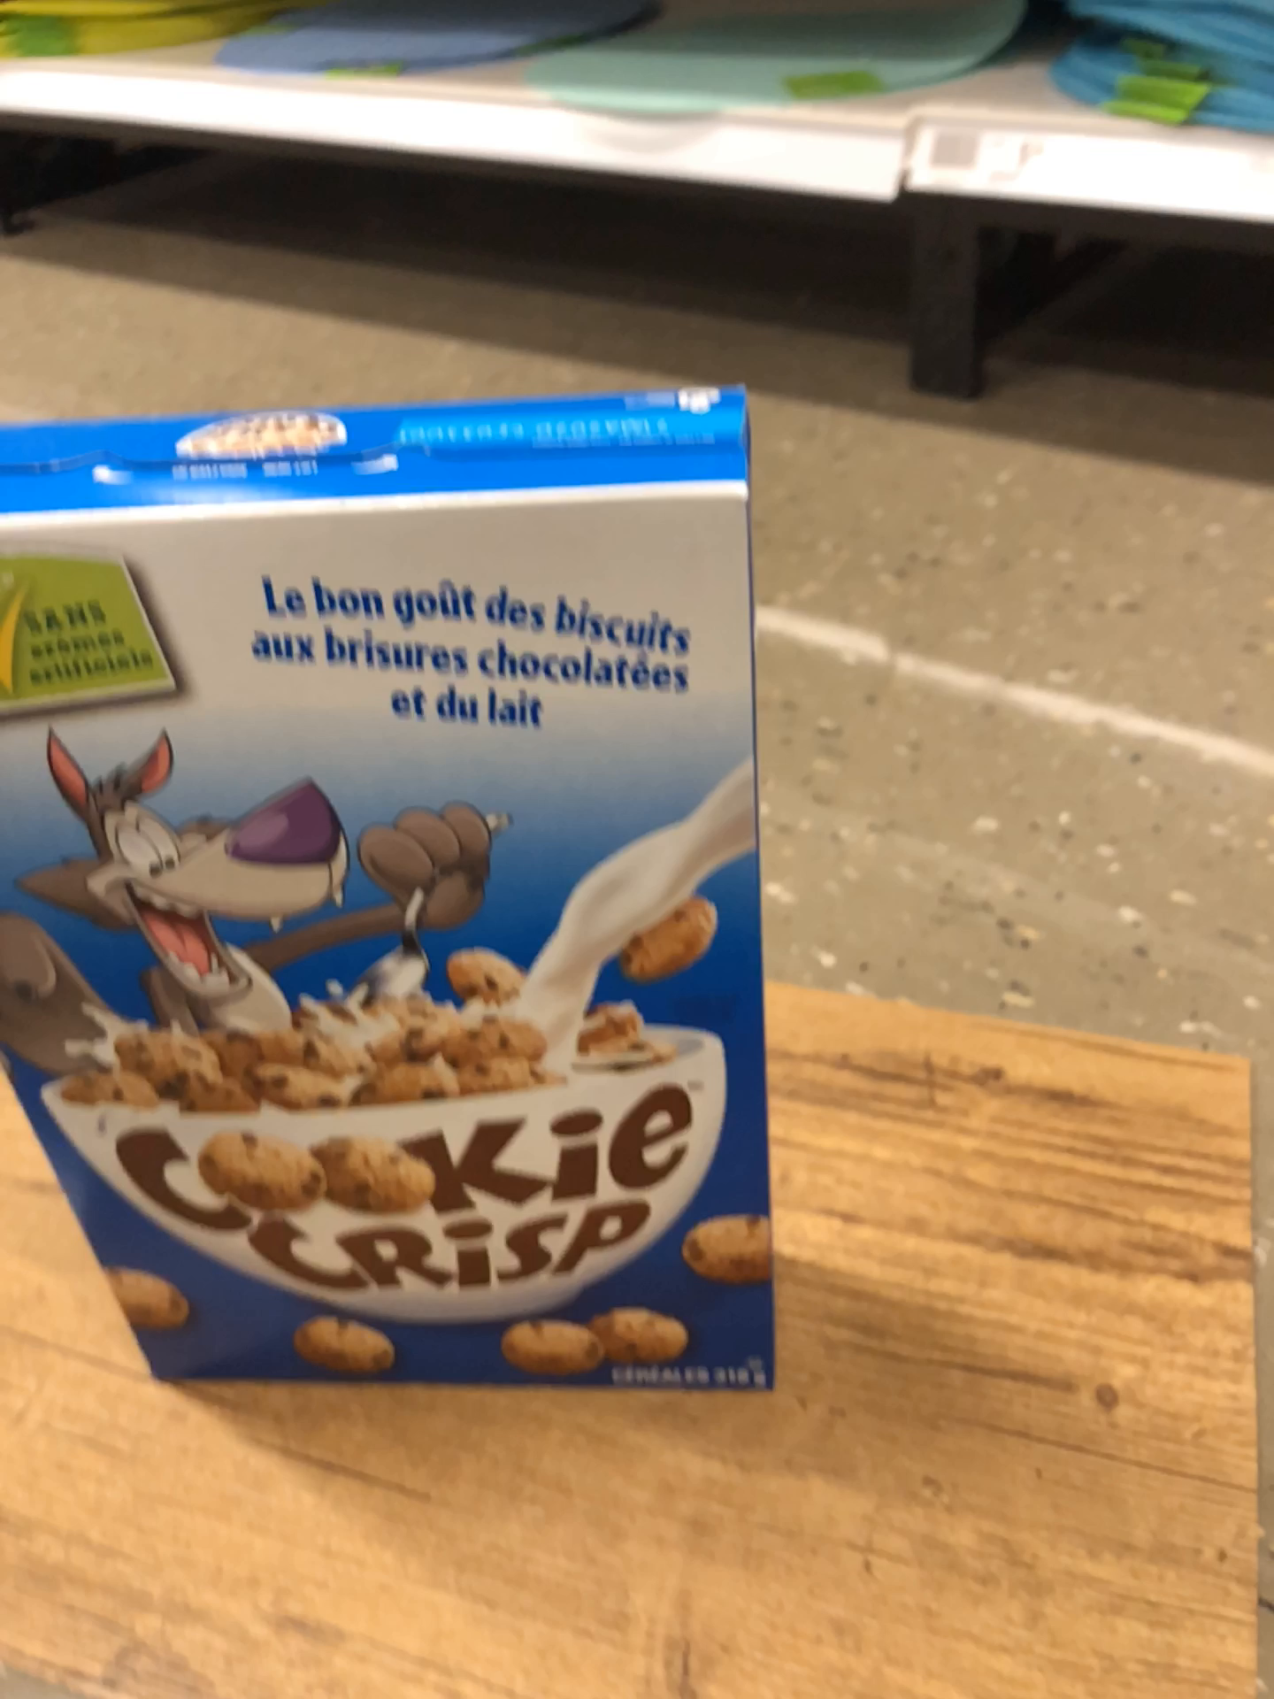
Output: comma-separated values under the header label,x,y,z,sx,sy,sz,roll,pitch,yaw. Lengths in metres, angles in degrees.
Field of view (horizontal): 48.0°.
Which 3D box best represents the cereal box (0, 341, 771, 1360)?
label,x,y,z,sx,sy,sz,roll,pitch,yaw
cereal box,-0.070,0.024,0.360,0.200,0.269,0.060,-2,37,5
